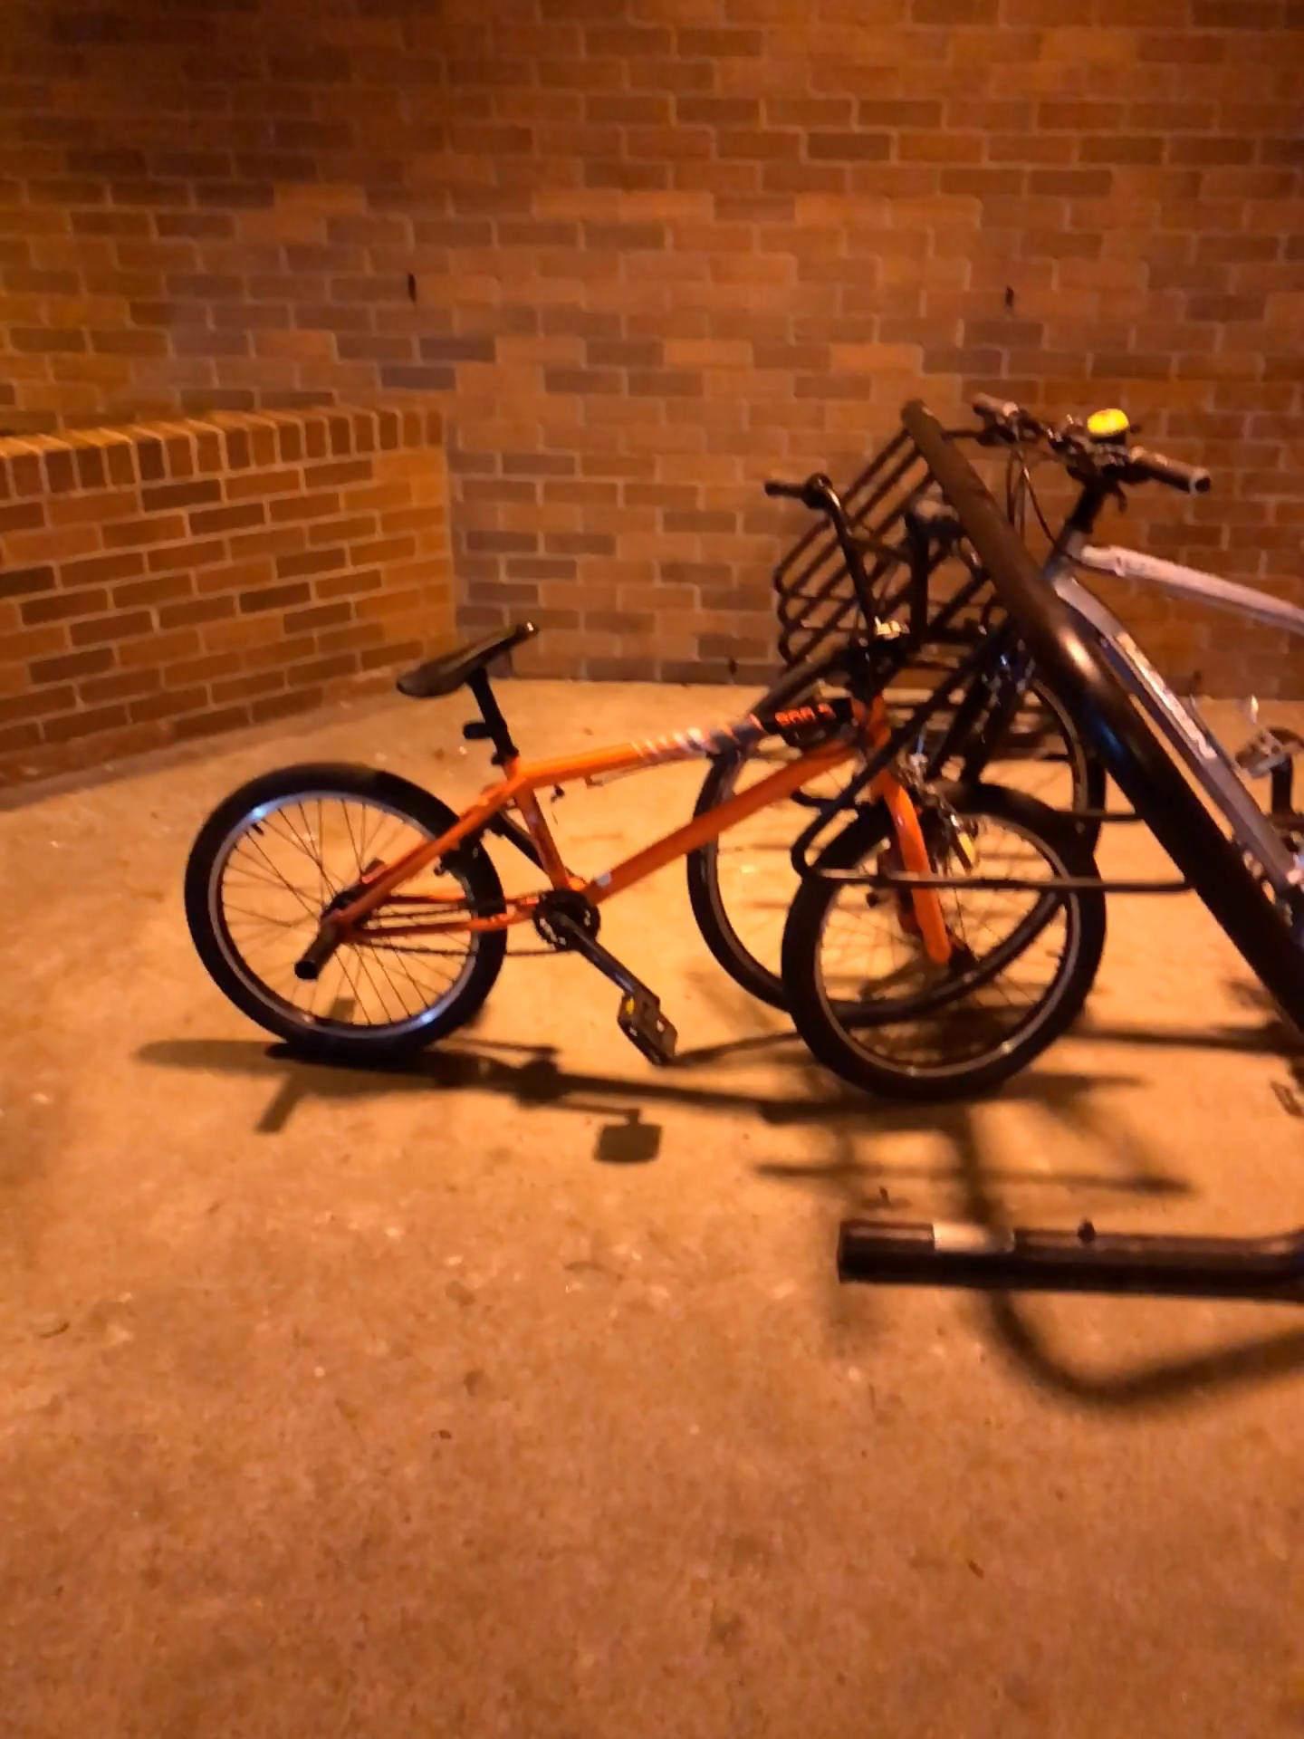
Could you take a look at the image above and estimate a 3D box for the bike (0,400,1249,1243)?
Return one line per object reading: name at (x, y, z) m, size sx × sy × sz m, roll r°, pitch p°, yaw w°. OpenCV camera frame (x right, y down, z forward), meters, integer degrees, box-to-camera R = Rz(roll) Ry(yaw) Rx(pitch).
bike at (-0.033, -0.114, 1.983) m, size 1.289 × 0.927 × 0.748 m, roll 1°, pitch 26°, yaw 3°
